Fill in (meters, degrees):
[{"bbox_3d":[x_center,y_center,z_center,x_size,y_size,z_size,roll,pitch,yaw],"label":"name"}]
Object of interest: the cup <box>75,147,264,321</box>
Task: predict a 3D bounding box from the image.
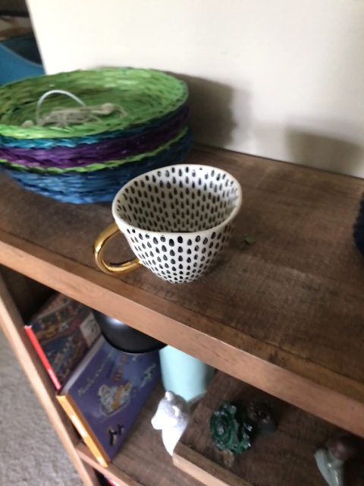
[{"bbox_3d":[-0.013,-0.014,0.355,0.130,0.079,0.101,-16,41,-14],"label":"cup"}]
